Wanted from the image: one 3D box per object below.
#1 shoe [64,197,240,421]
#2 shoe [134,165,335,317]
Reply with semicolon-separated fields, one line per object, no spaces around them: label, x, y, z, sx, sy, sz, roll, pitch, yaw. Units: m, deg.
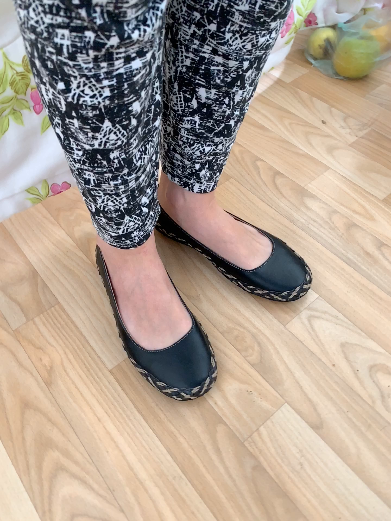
shoe;-0.062;0.046;0.501;0.100;0.070;0.266;-26;58;-15
shoe;0.047;-0.035;0.556;0.250;0.060;0.100;29;61;21
